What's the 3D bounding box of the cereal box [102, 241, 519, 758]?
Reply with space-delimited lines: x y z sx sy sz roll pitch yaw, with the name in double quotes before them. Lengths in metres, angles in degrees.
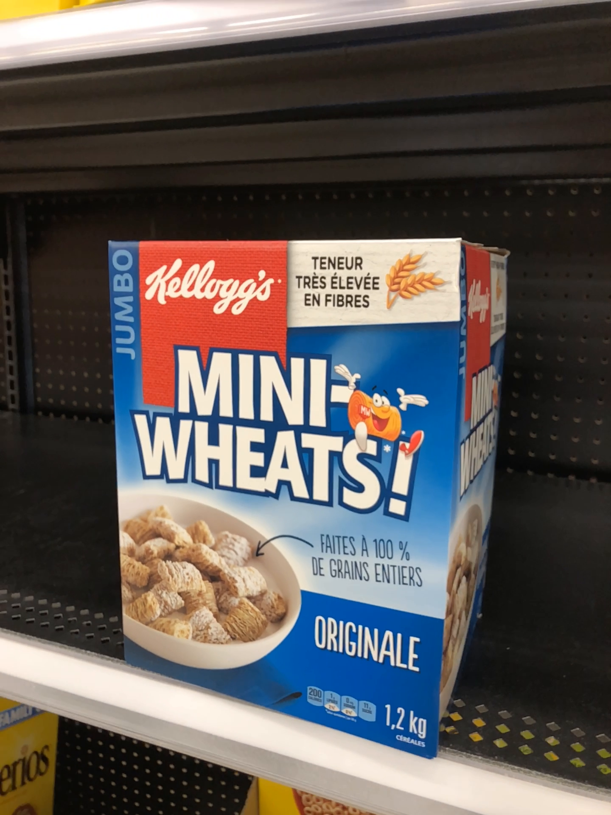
"cereal box" 0.012 0.027 0.430 0.200 0.249 0.171 6 12 23
